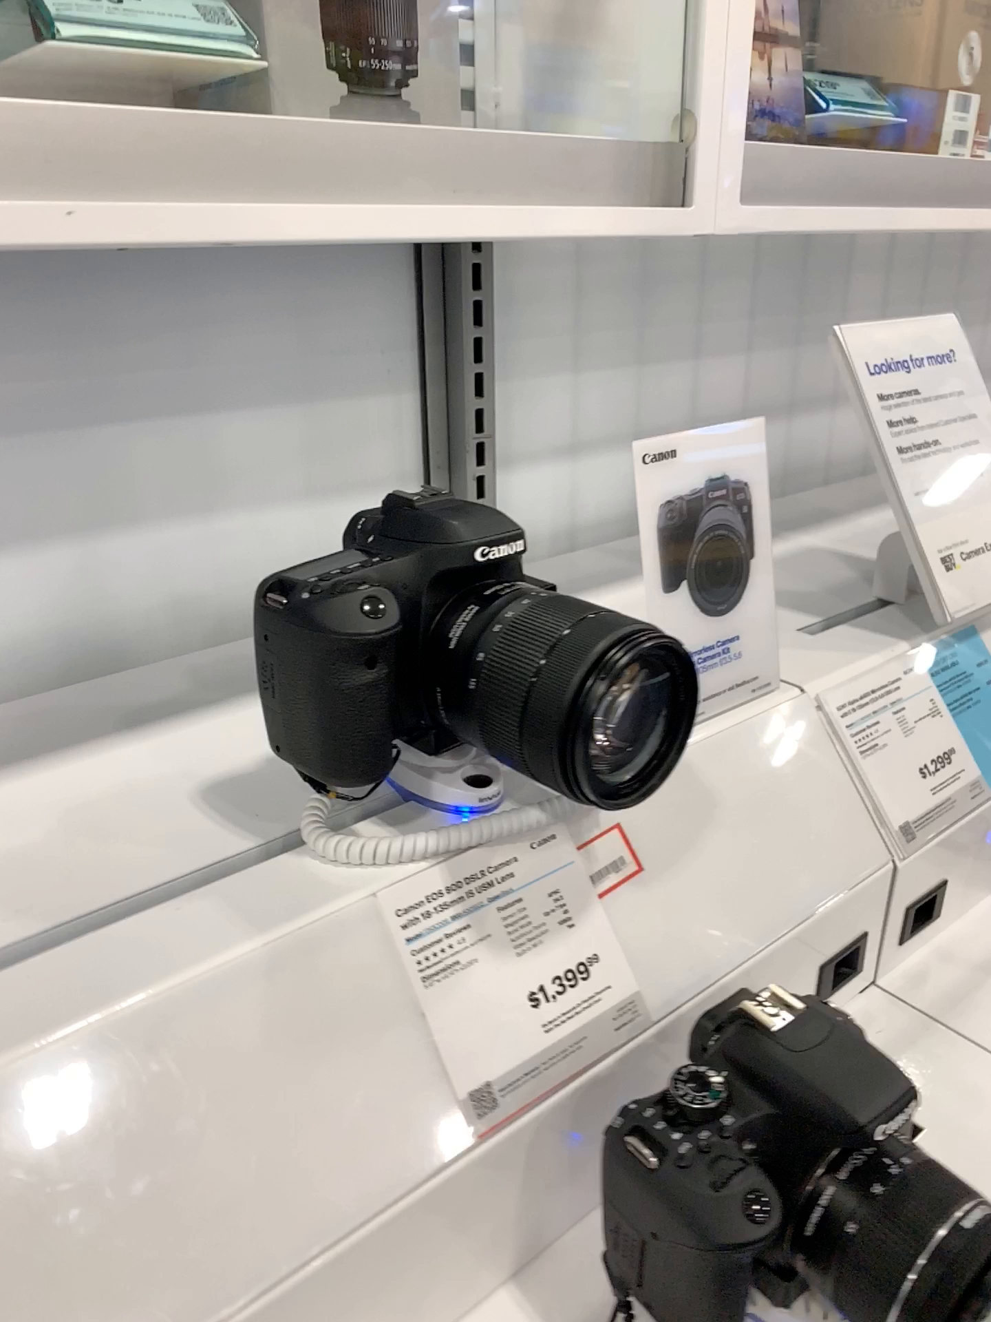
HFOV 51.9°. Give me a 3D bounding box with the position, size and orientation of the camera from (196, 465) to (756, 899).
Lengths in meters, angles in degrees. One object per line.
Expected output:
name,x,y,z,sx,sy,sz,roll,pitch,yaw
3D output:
camera,-0.010,-0.010,0.428,0.150,0.100,0.170,-20,29,-39
